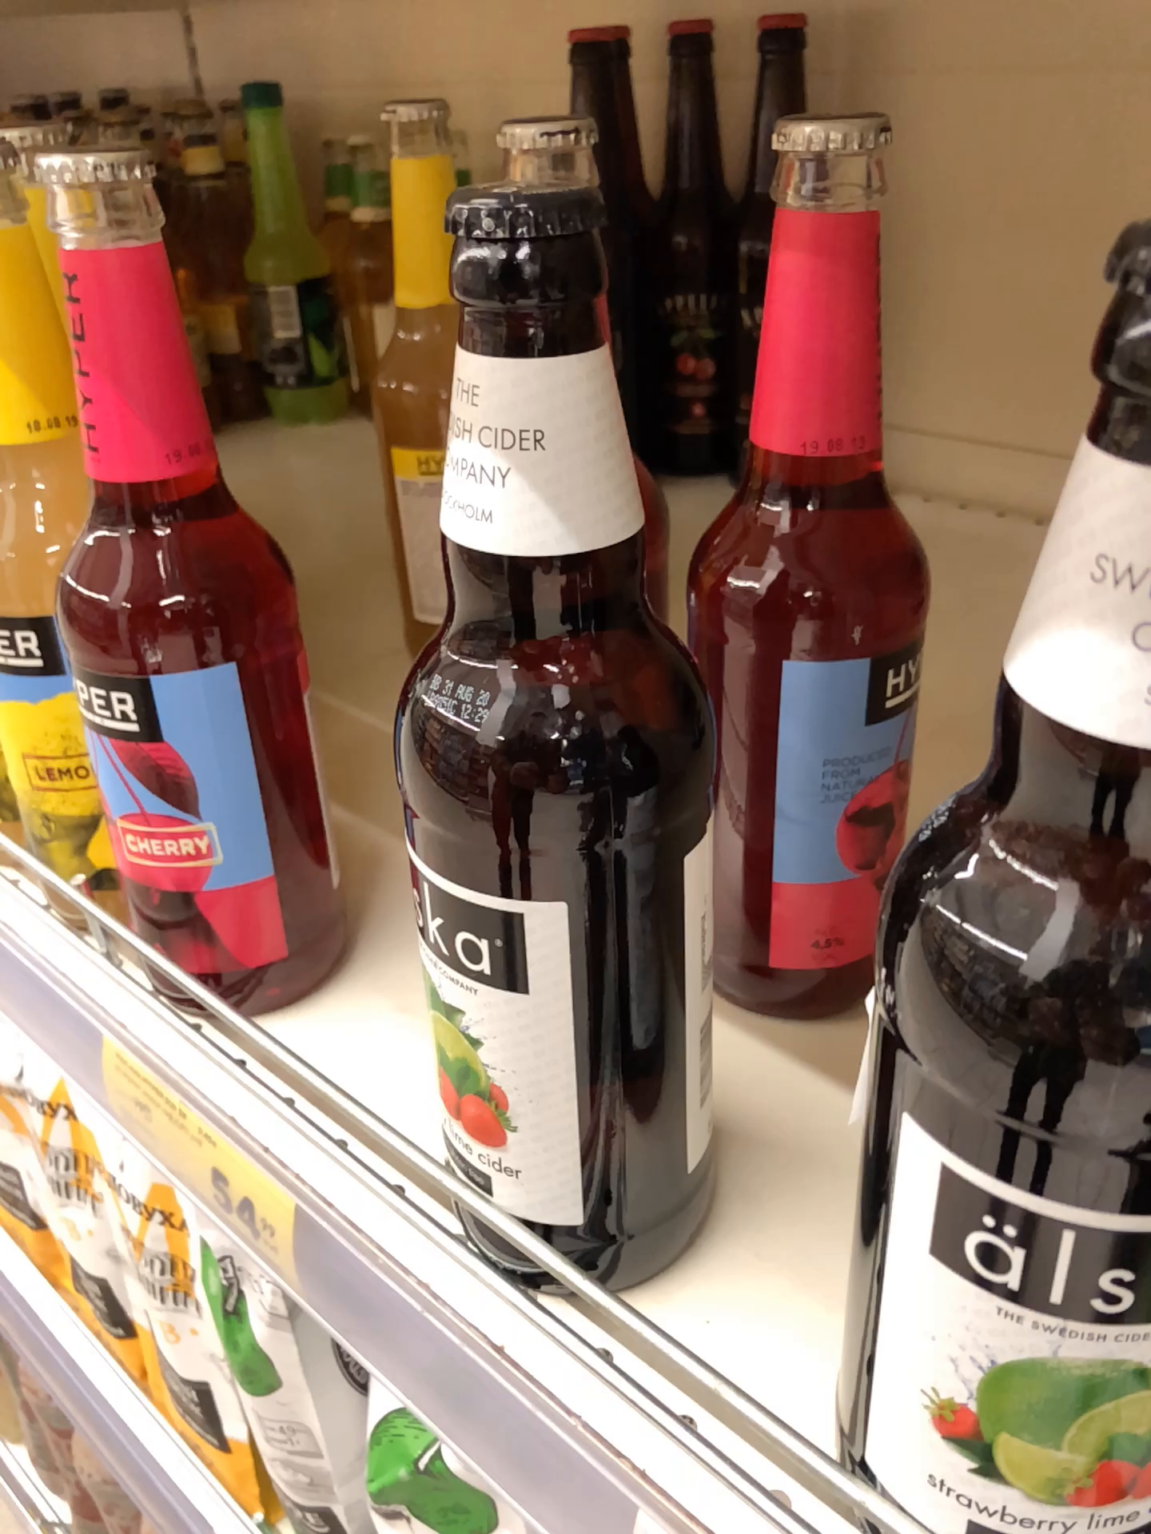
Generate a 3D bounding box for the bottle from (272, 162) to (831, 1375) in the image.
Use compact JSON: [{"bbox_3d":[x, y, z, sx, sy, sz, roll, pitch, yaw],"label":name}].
[{"bbox_3d":[-0.001,0.008,0.270,0.070,0.239,0.070,-3,29,1],"label":"bottle"}]
